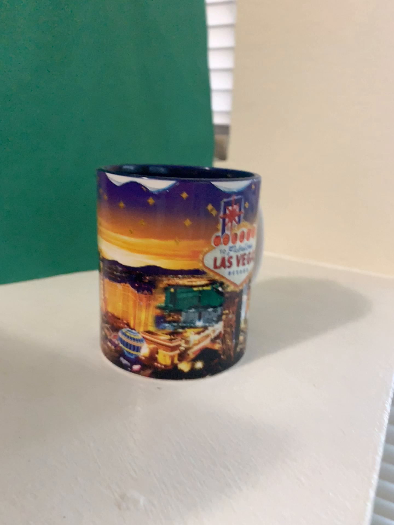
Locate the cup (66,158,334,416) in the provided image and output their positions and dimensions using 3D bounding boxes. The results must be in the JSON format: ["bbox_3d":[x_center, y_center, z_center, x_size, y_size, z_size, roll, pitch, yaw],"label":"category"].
[{"bbox_3d":[0.005,-0.003,0.231,0.080,0.100,0.120,18,22,40],"label":"cup"}]
